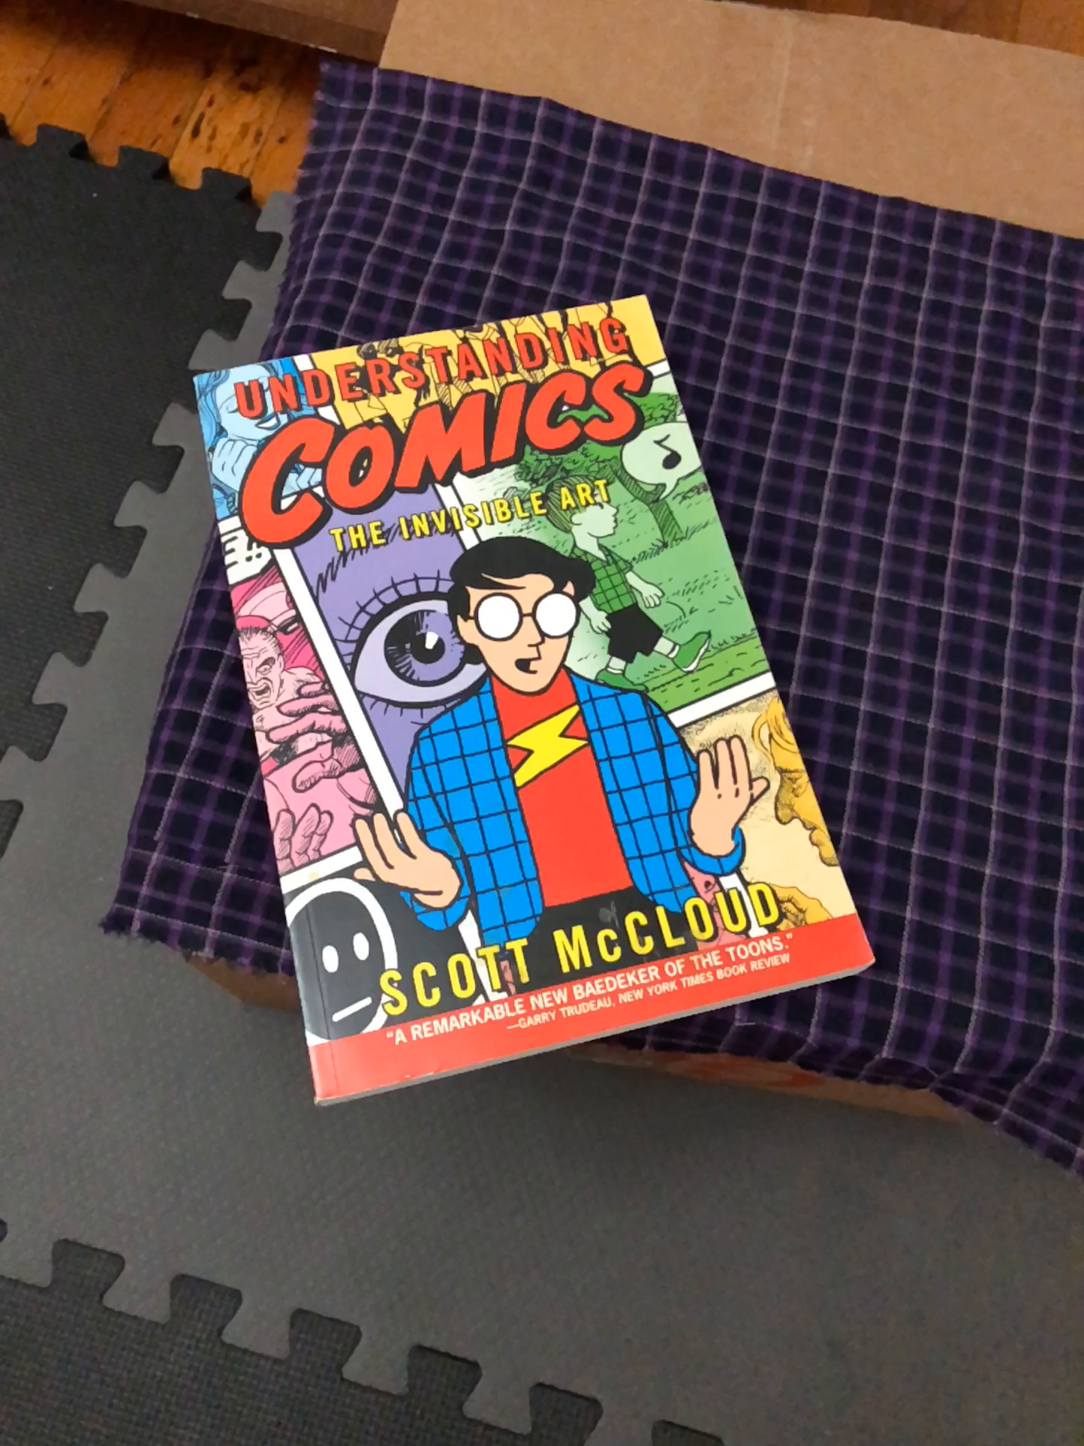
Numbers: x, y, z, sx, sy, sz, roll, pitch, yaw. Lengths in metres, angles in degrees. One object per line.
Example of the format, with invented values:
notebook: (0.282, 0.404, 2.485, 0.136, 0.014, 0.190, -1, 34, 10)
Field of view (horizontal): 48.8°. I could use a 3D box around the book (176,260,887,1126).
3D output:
book: (-0.014, -0.028, 0.394, 0.170, 0.020, 0.271, -12, 69, -8)
